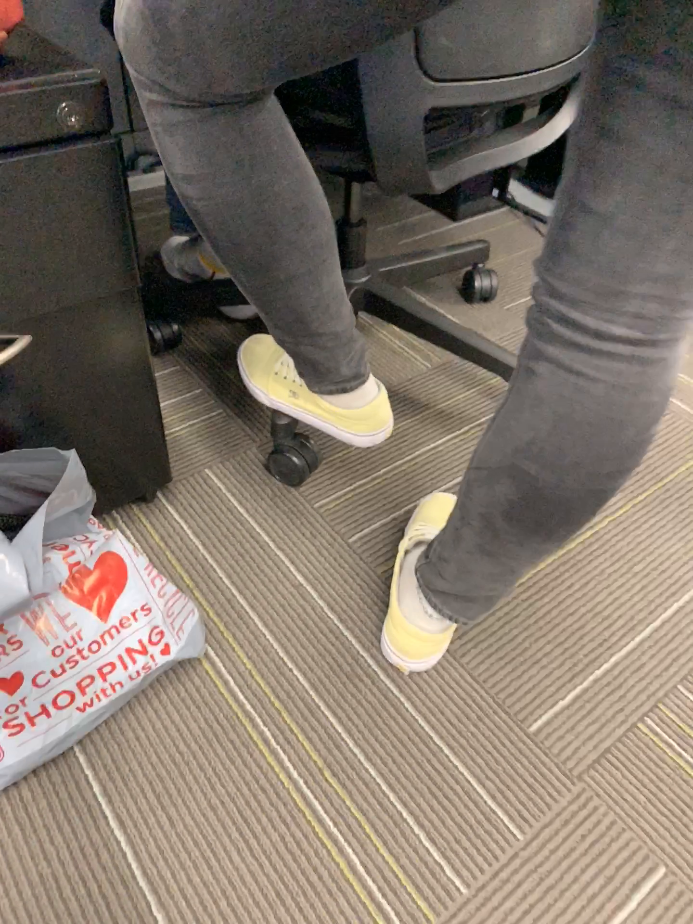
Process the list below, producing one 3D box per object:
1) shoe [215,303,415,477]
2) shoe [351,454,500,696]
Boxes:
[{"bbox_3d":[-0.047,-0.103,0.951,0.260,0.096,0.098,32,50,27],"label":"shoe"},{"bbox_3d":[0.101,0.126,0.866,0.102,0.101,0.269,16,45,12],"label":"shoe"}]
